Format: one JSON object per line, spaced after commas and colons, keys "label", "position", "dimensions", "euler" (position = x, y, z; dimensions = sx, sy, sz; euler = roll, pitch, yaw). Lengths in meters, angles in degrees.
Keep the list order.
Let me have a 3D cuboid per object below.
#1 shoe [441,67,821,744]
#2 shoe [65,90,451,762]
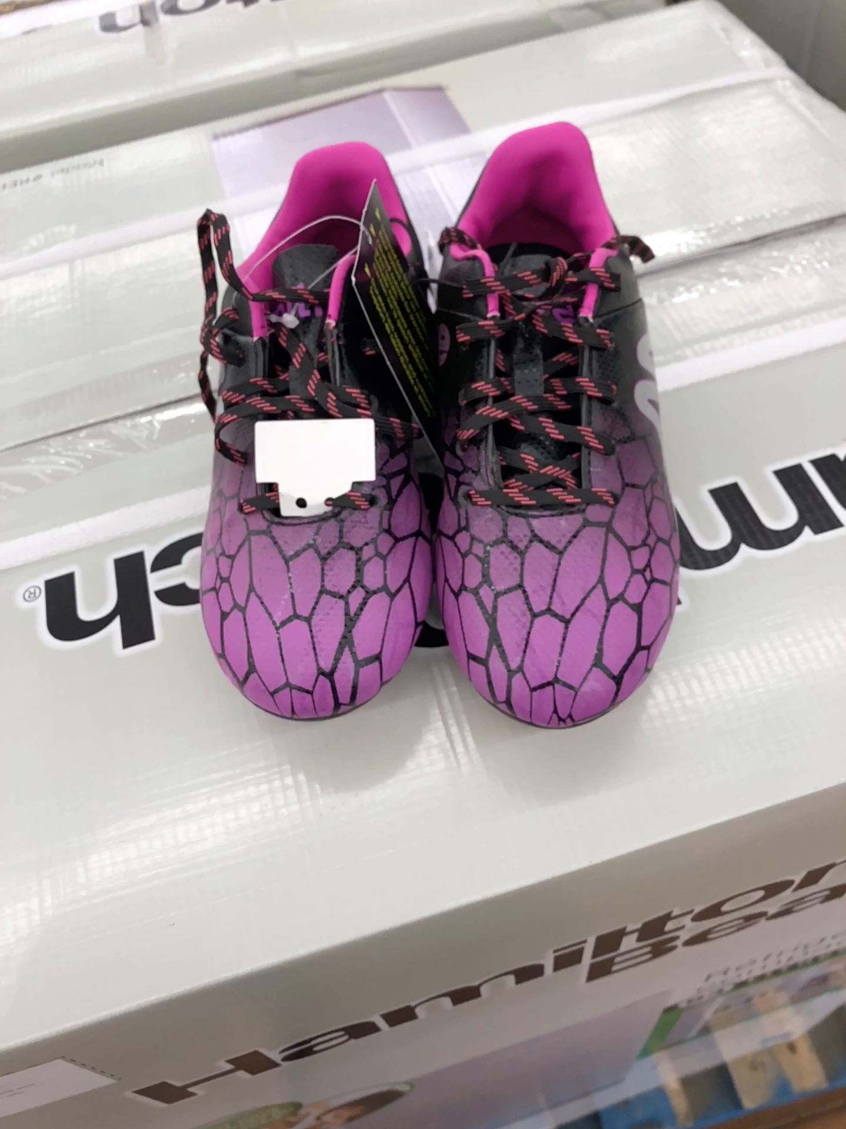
{"label": "shoe", "position": [0.050, -0.059, 0.301], "dimensions": [0.080, 0.080, 0.211], "euler": [-4, 55, 5]}
{"label": "shoe", "position": [-0.035, -0.053, 0.304], "dimensions": [0.080, 0.080, 0.211], "euler": [-3, 55, 6]}
